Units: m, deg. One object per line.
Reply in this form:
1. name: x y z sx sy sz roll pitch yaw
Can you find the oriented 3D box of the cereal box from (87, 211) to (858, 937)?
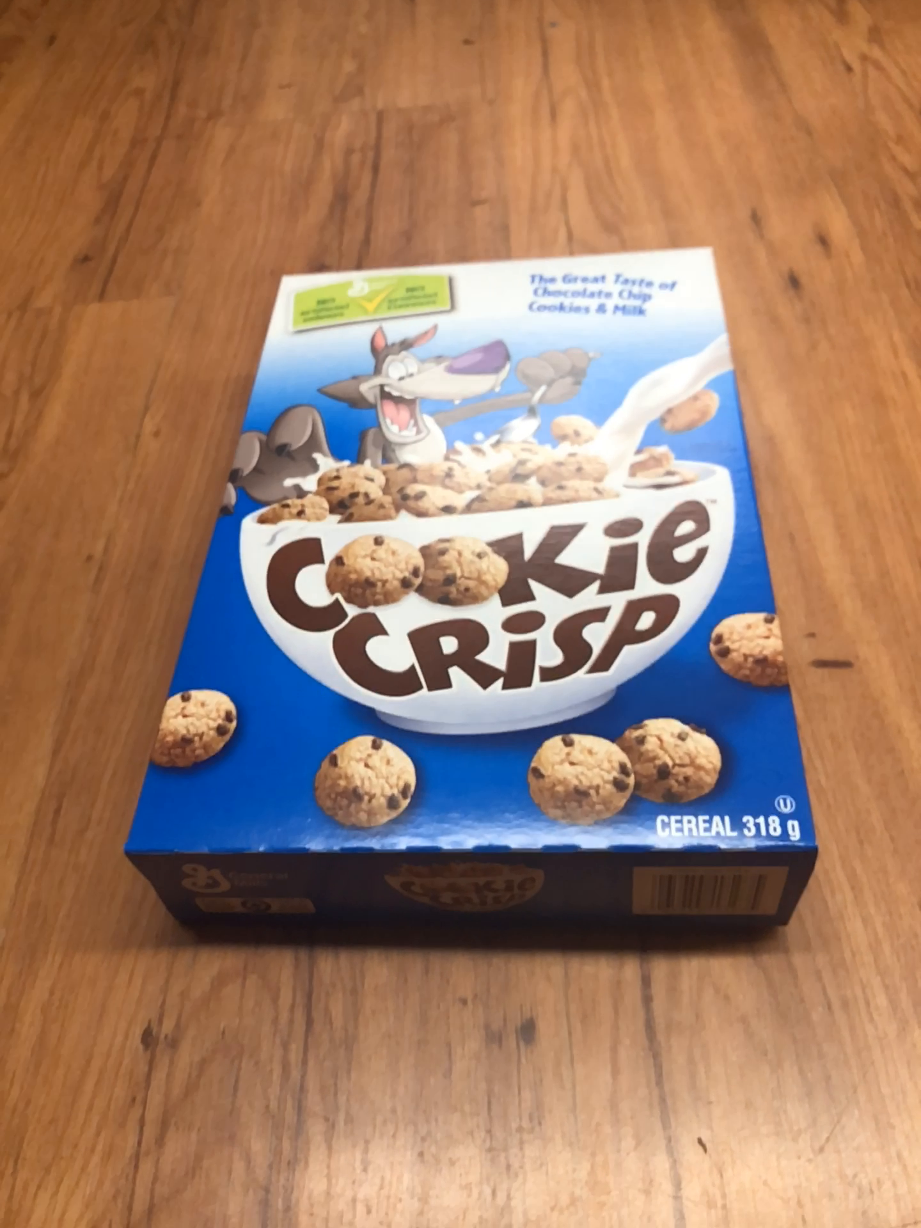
1. cereal box: 0.009 -0.034 0.372 0.200 0.060 0.282 -1 53 6
